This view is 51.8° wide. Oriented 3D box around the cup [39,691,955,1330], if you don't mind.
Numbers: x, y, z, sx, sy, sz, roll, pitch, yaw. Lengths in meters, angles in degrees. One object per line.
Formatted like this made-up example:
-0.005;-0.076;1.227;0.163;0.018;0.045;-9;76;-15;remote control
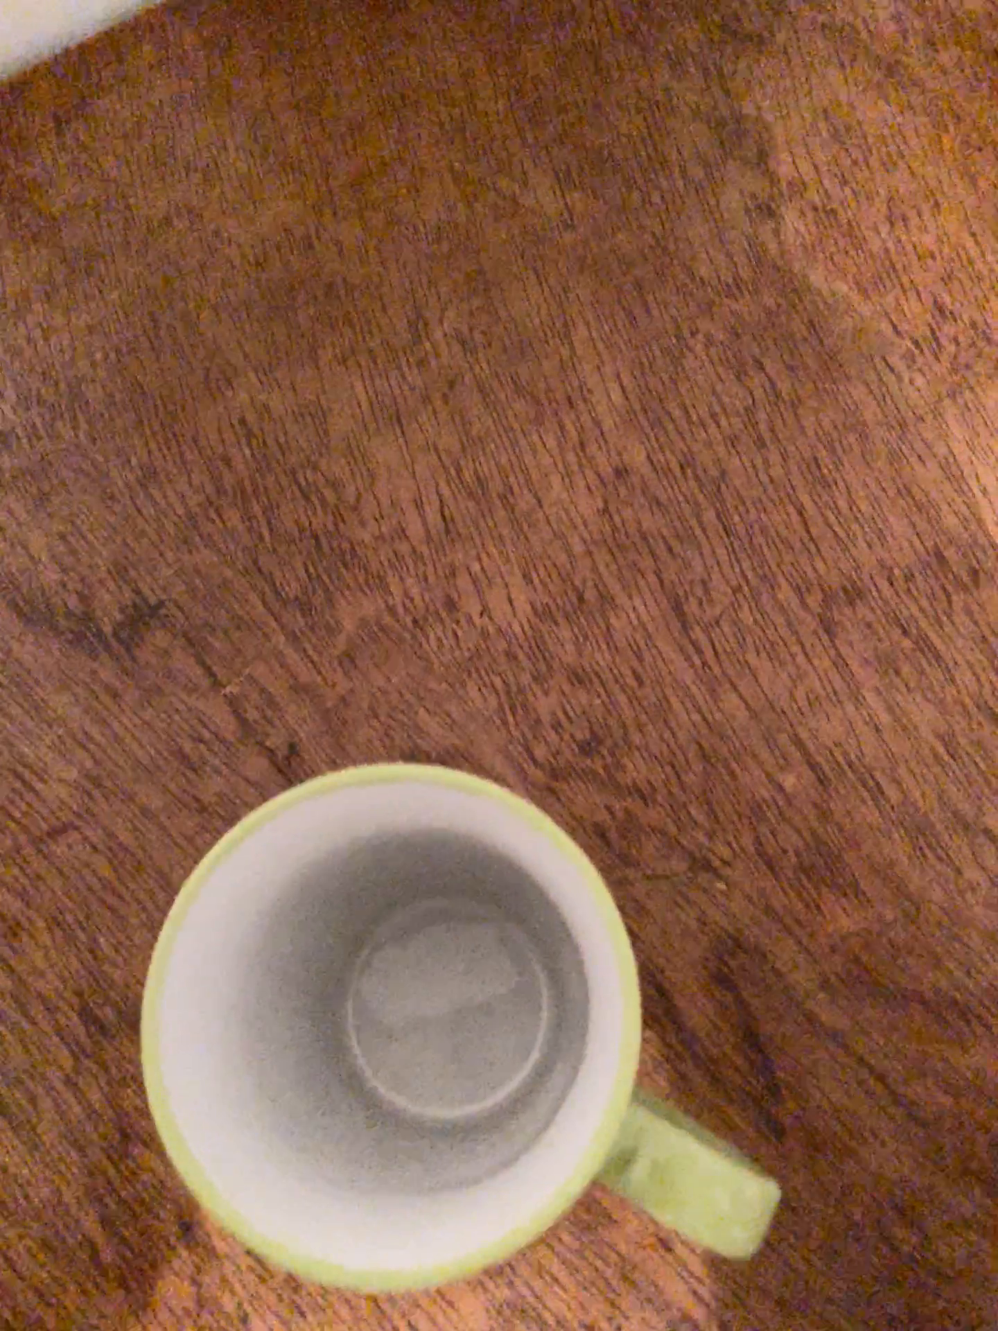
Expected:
0.004;0.080;0.209;0.120;0.100;0.090;19;74;10;cup
